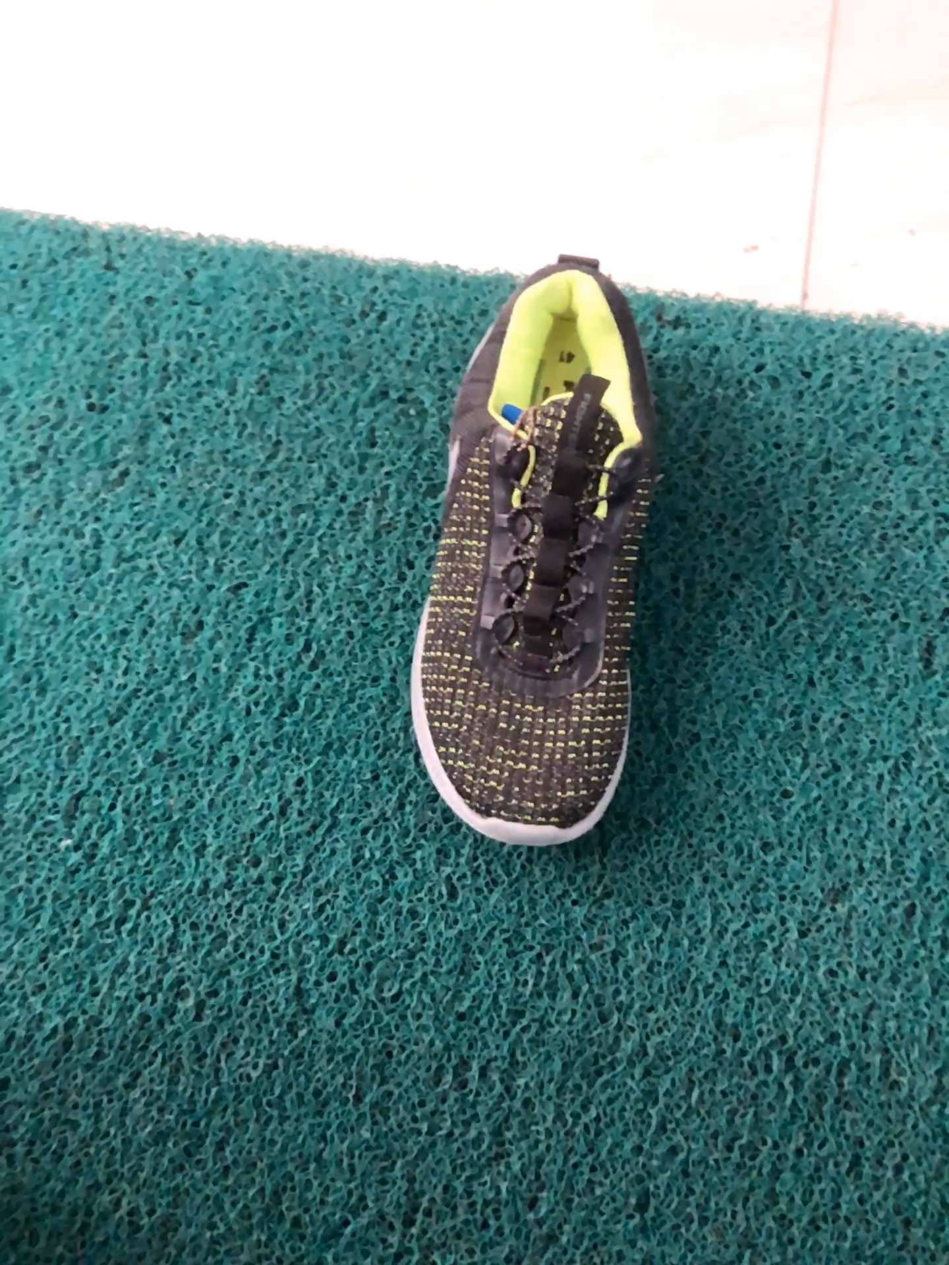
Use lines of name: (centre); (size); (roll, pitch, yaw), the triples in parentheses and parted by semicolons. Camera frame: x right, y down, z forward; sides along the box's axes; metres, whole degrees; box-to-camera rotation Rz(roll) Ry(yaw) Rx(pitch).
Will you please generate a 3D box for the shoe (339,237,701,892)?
shoe: (0.028, -0.035, 0.470); (0.110, 0.090, 0.270); (8, 68, 5)
